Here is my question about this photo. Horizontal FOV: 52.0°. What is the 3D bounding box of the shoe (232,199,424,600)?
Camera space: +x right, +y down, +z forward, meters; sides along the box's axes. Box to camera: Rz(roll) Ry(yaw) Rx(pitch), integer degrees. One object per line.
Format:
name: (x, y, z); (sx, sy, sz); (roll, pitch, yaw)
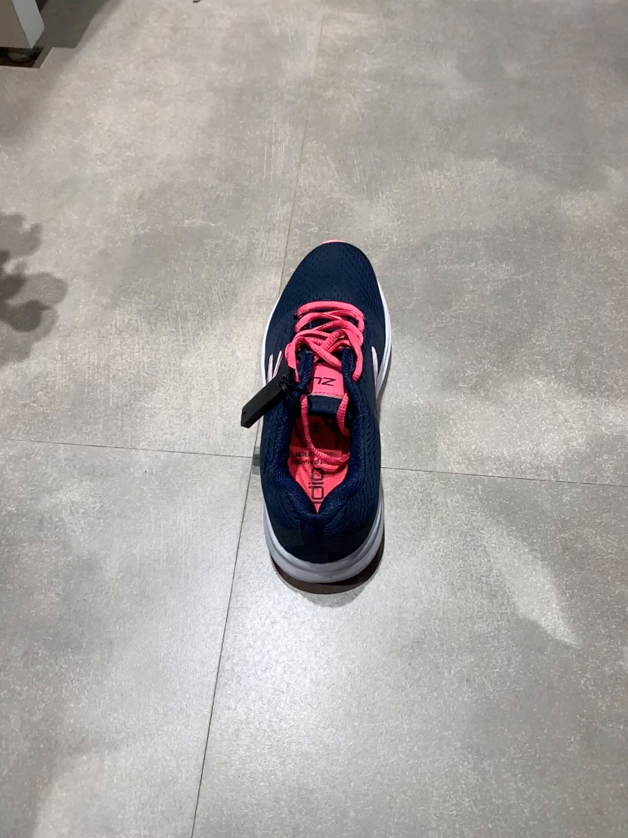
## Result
shoe: (0.011, -0.020, 0.418); (0.094, 0.090, 0.248); (1, 60, 2)
